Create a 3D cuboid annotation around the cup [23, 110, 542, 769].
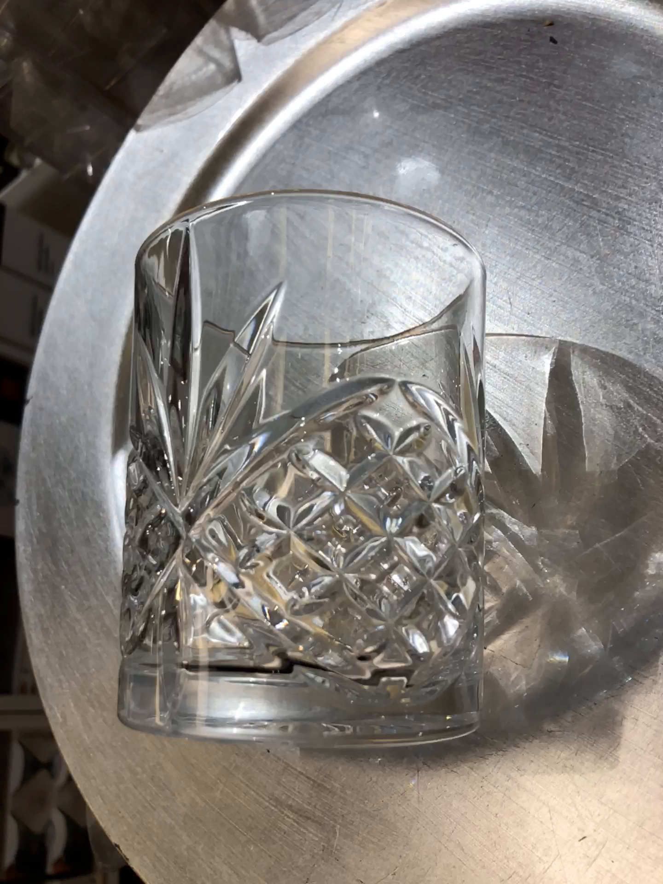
[{"bbox_3d":[-0.010,0.006,0.156,0.080,0.060,0.100,-11,72,36],"label":"cup"}]
